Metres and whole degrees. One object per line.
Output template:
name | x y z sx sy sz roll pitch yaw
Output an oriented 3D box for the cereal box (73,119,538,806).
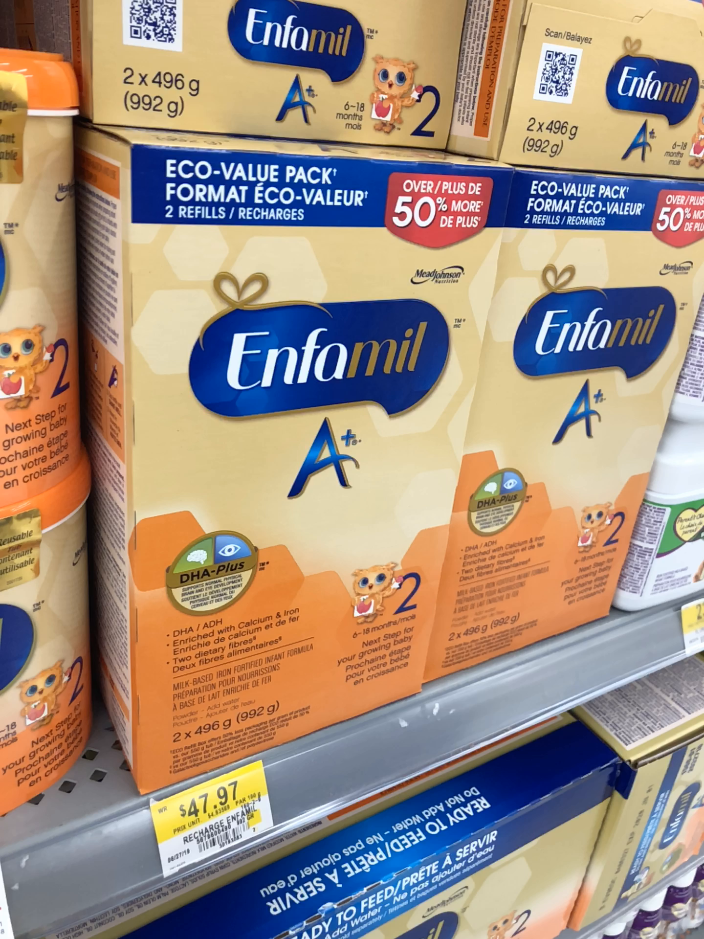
cereal box | -0.028 -0.004 0.320 0.140 0.238 0.080 -10 30 -33
